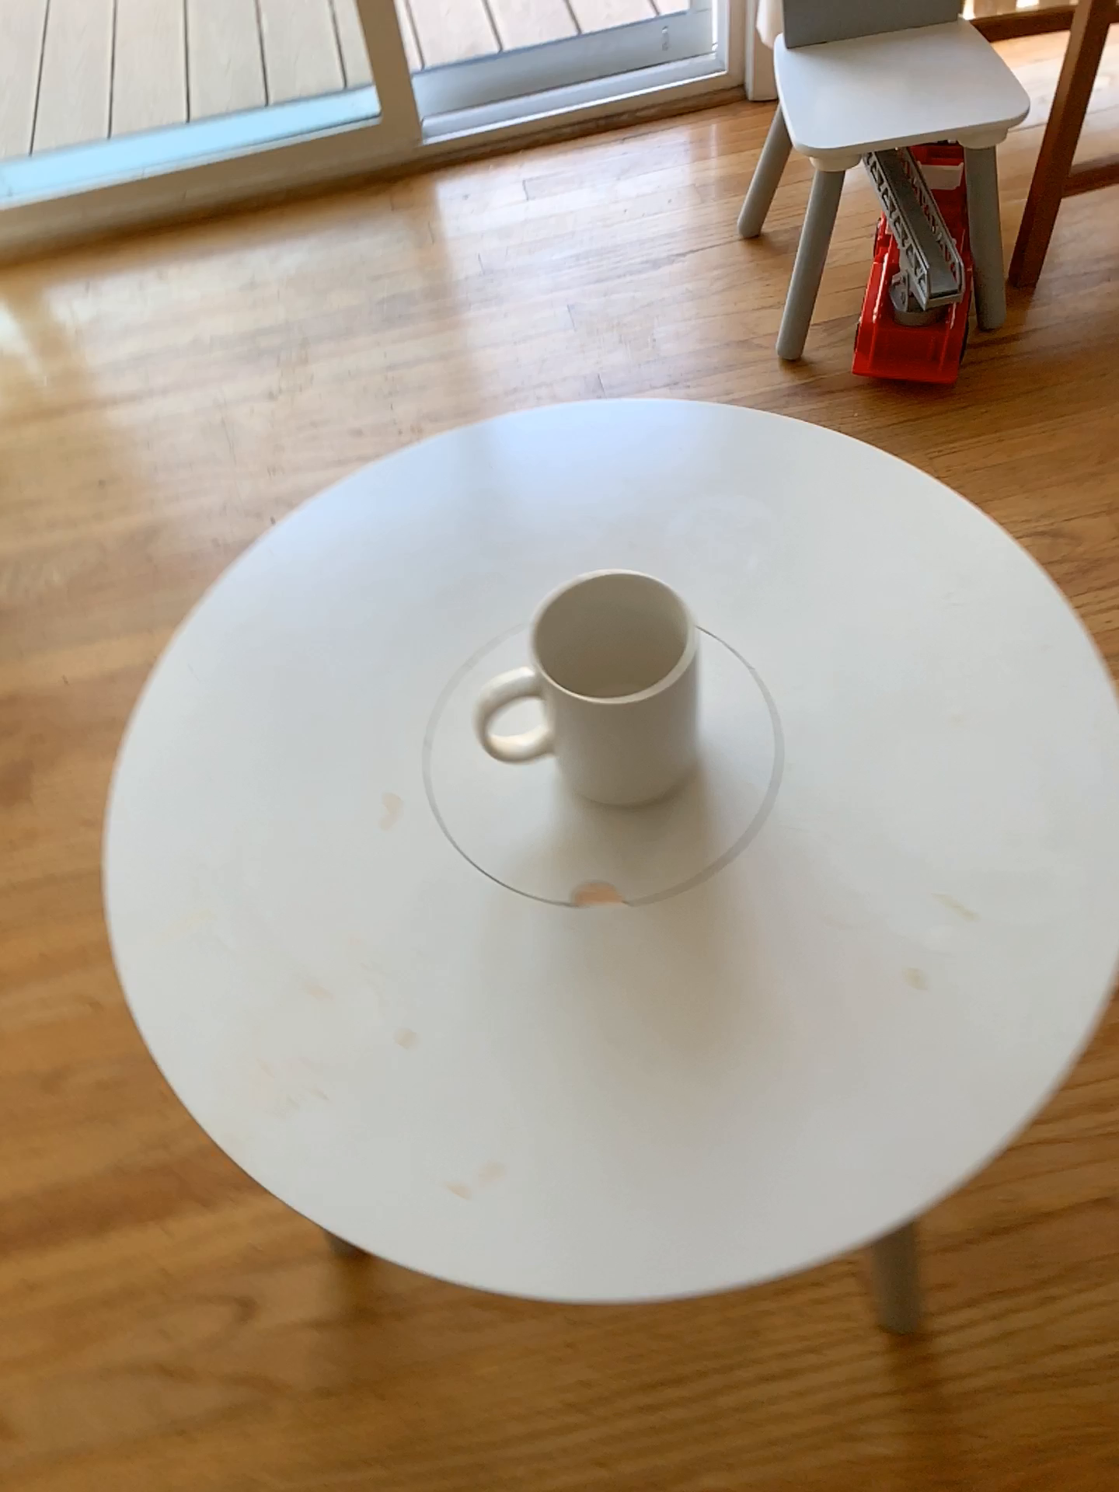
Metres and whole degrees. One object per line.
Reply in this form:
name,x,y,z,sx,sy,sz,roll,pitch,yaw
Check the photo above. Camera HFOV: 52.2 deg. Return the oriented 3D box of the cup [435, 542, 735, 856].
cup,0.014,-0.025,0.620,0.130,0.090,0.110,-15,57,-2
